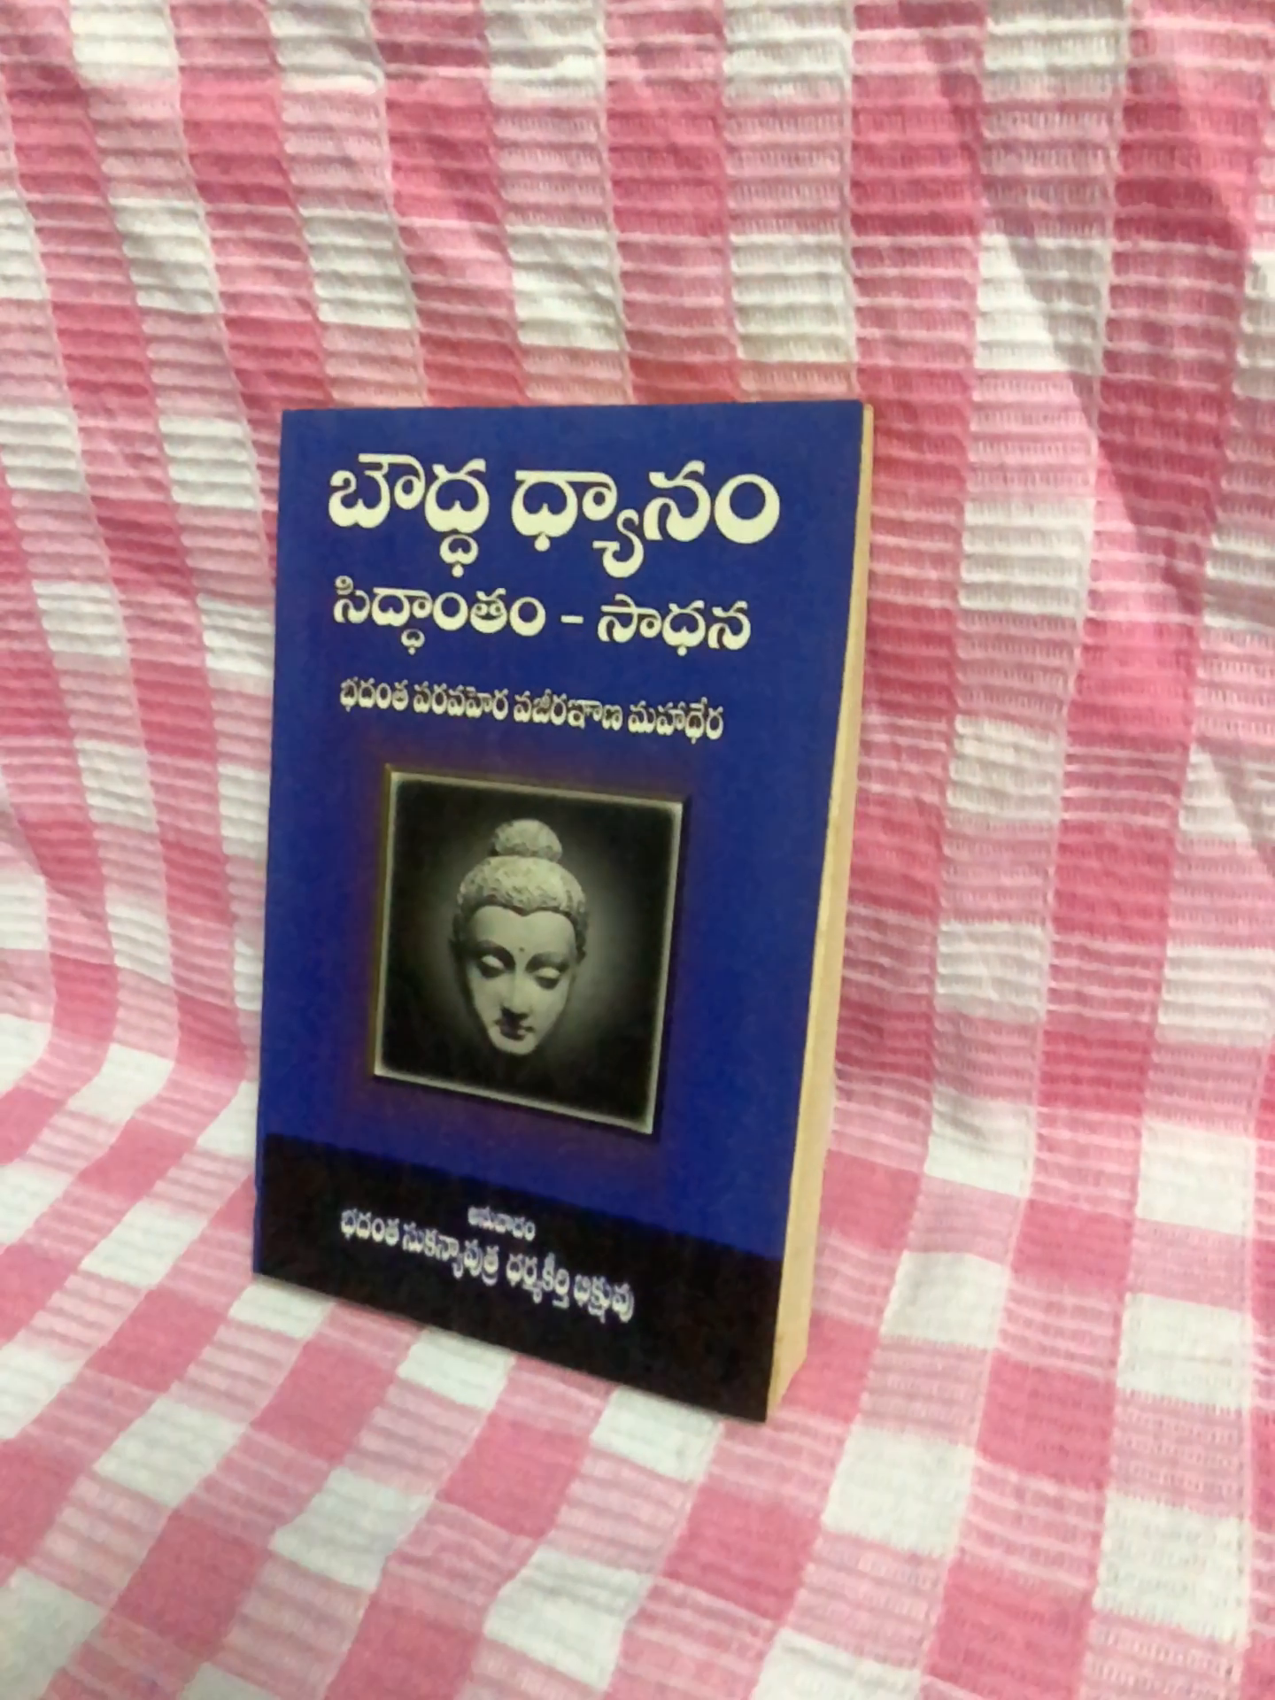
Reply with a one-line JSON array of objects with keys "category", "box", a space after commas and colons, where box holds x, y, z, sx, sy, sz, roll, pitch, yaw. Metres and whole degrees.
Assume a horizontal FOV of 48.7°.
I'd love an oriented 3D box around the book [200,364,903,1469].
[{"category": "book", "box": [-0.029, 0.008, 0.337, 0.160, 0.230, 0.030, 7, 6, 25]}]
